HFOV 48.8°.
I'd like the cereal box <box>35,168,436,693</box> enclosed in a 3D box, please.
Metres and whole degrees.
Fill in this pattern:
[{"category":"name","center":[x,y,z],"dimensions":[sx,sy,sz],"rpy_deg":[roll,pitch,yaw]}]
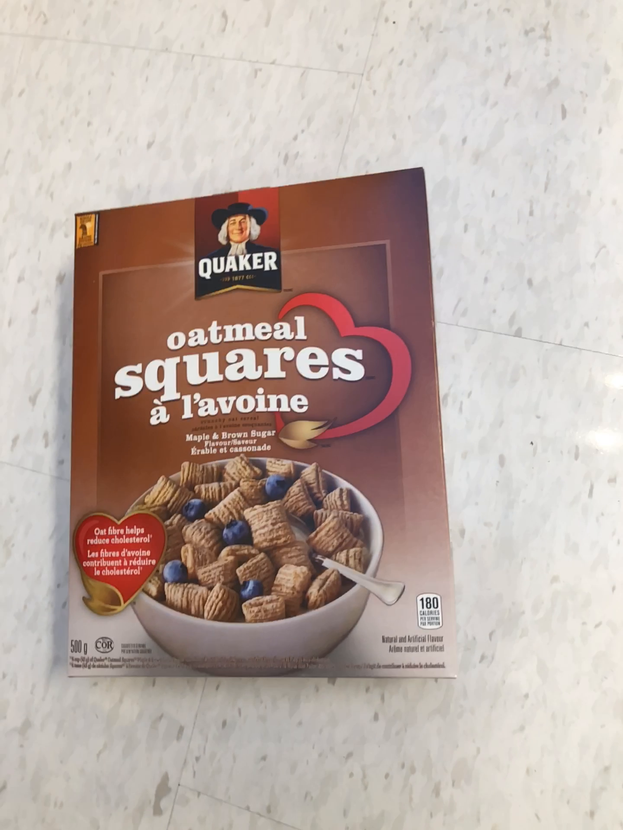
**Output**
[{"category":"cereal box","center":[-0.043,0.012,0.403],"dimensions":[0.210,0.070,0.270],"rpy_deg":[-4,80,11]}]
